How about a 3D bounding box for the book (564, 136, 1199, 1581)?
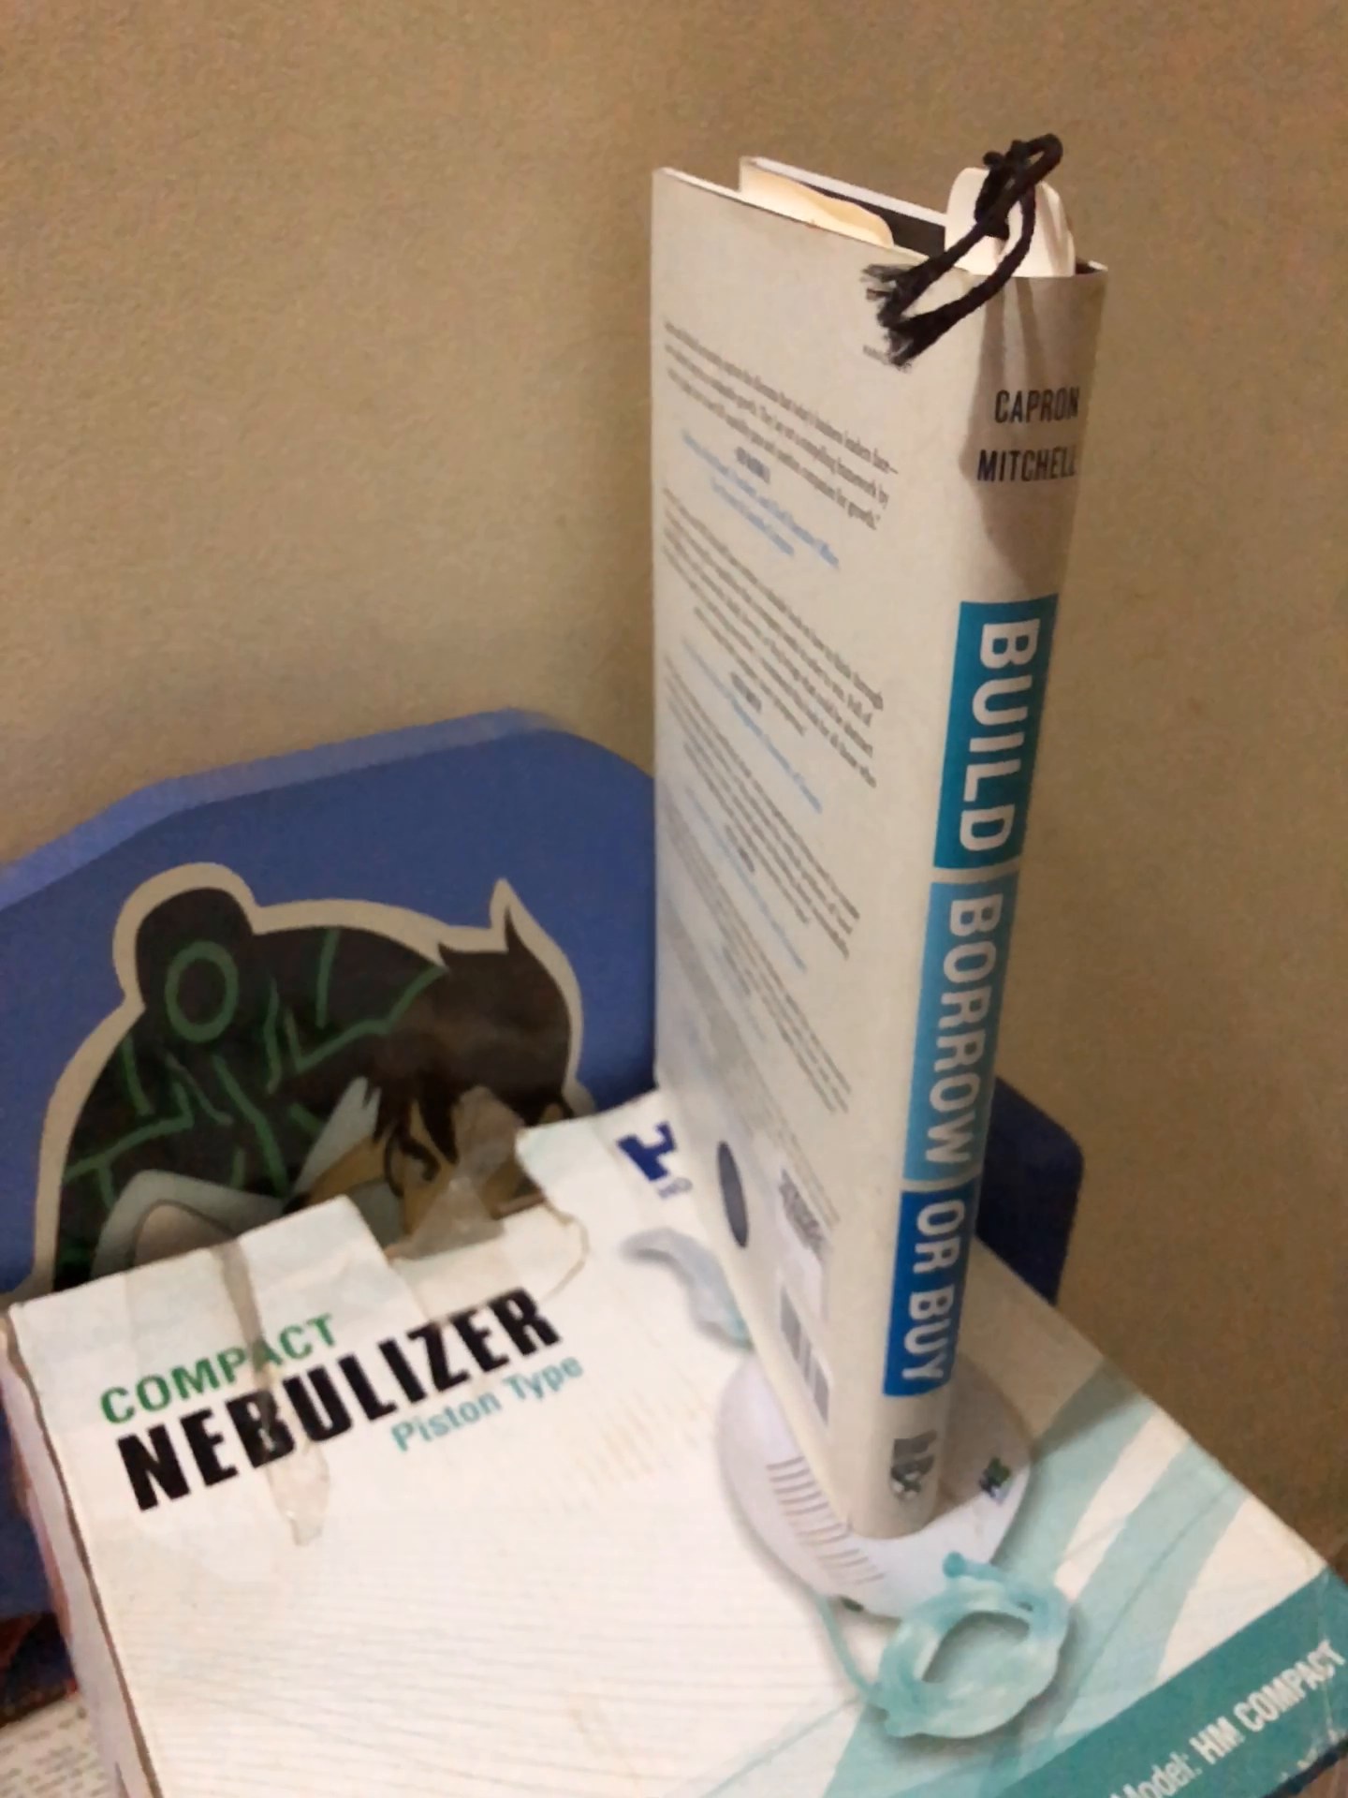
[{"bbox_3d":[0.020,-0.017,0.315,0.040,0.239,0.181,-8,32,-13],"label":"book"}]
